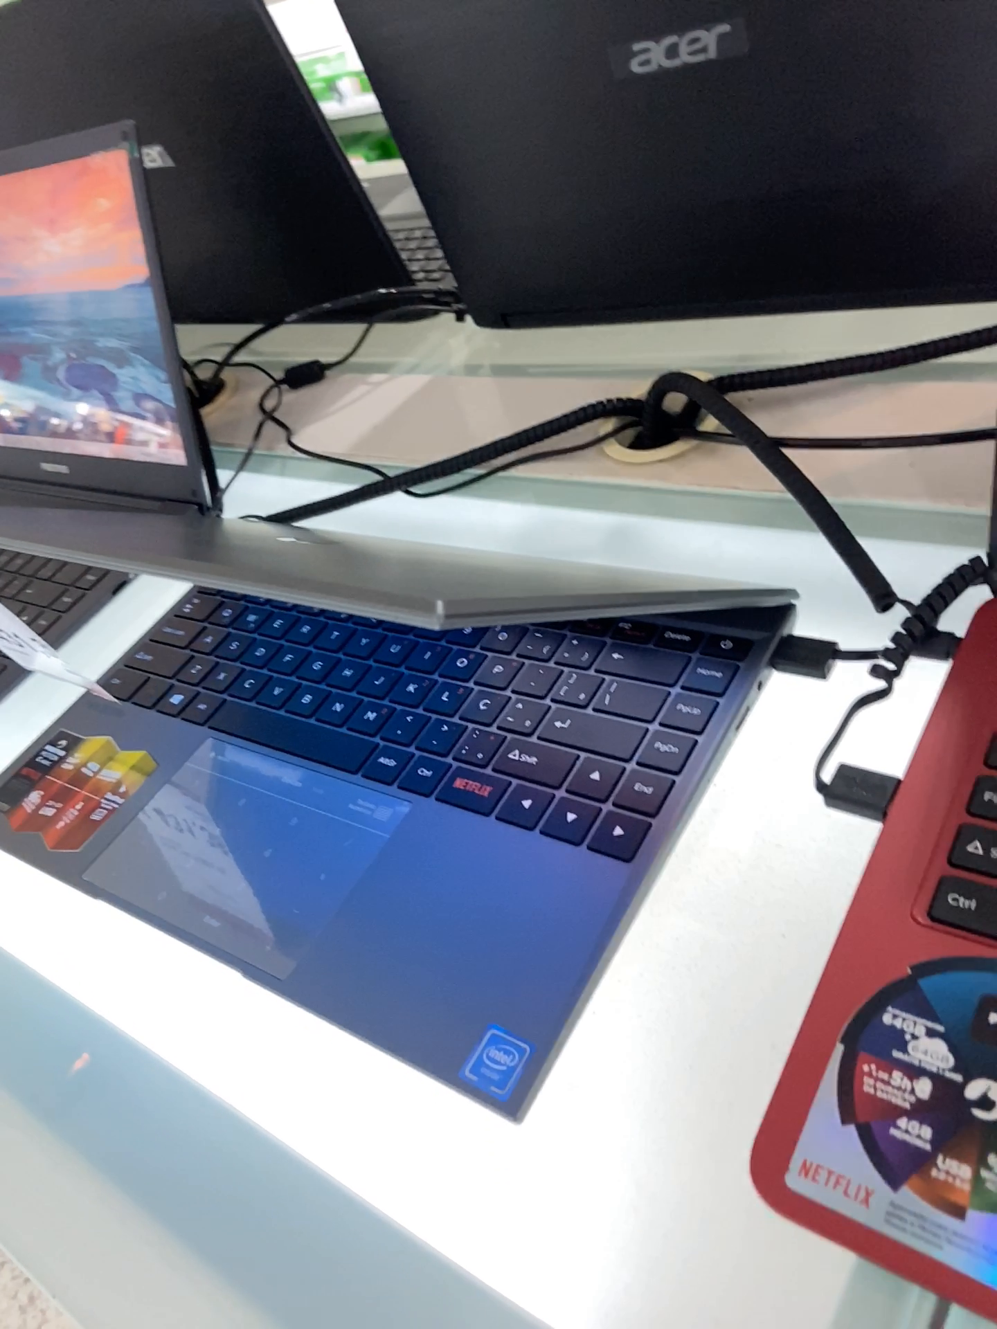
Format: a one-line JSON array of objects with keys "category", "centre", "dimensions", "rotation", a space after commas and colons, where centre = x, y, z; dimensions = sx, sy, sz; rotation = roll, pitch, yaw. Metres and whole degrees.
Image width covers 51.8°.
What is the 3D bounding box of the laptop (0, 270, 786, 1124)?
[{"category": "laptop", "centre": [-0.097, -0.020, 0.394], "dimensions": [0.328, 0.139, 0.211], "rotation": [11, 52, 36]}]
